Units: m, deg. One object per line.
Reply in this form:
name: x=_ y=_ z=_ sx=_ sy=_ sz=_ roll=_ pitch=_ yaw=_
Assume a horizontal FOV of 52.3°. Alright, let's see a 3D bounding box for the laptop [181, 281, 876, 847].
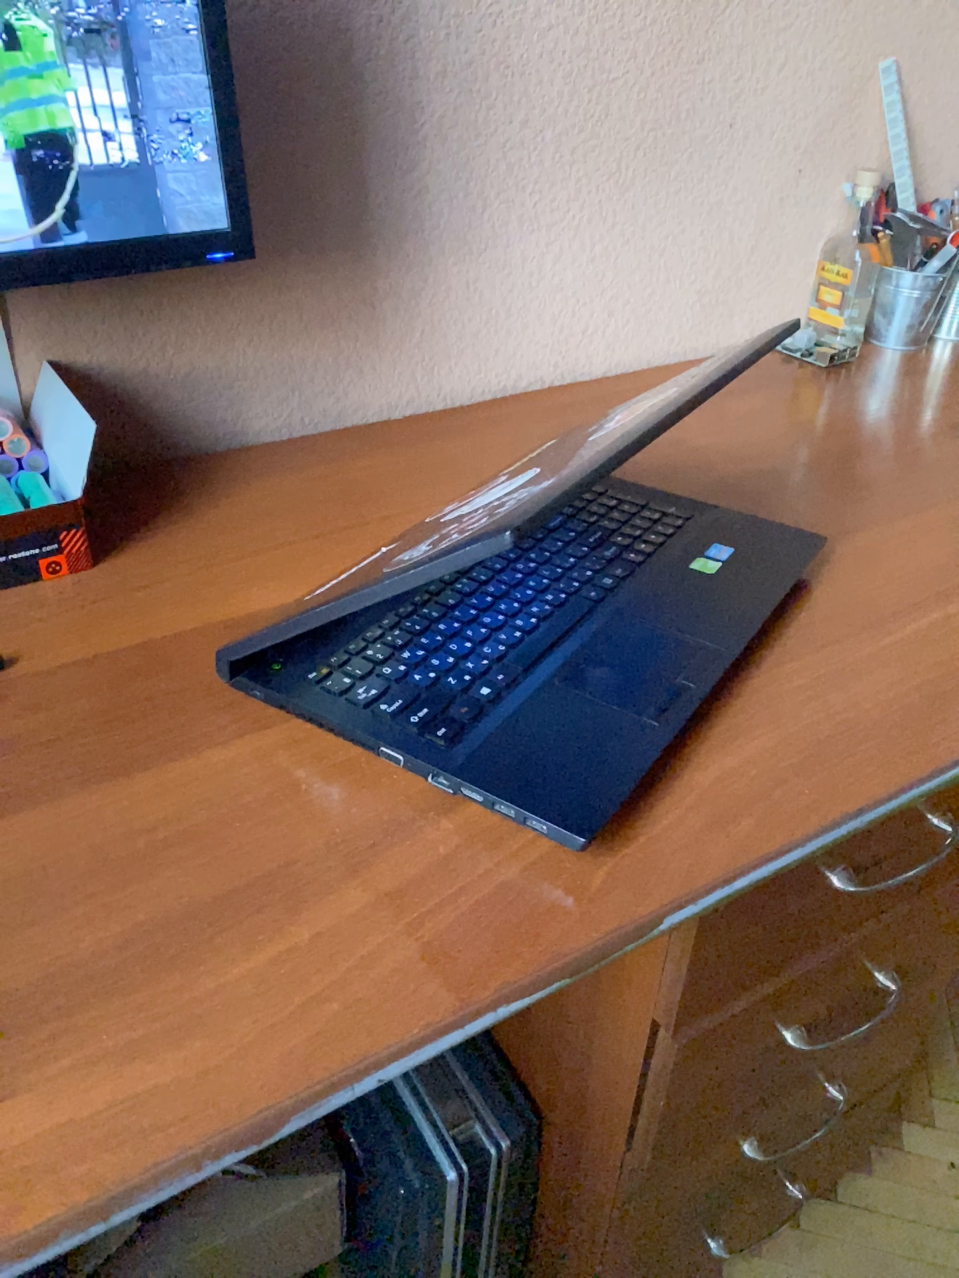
laptop: x=0.054 y=-0.091 z=0.618 sx=0.256 sy=0.149 sz=0.379 roll=21 pitch=38 yaw=26
